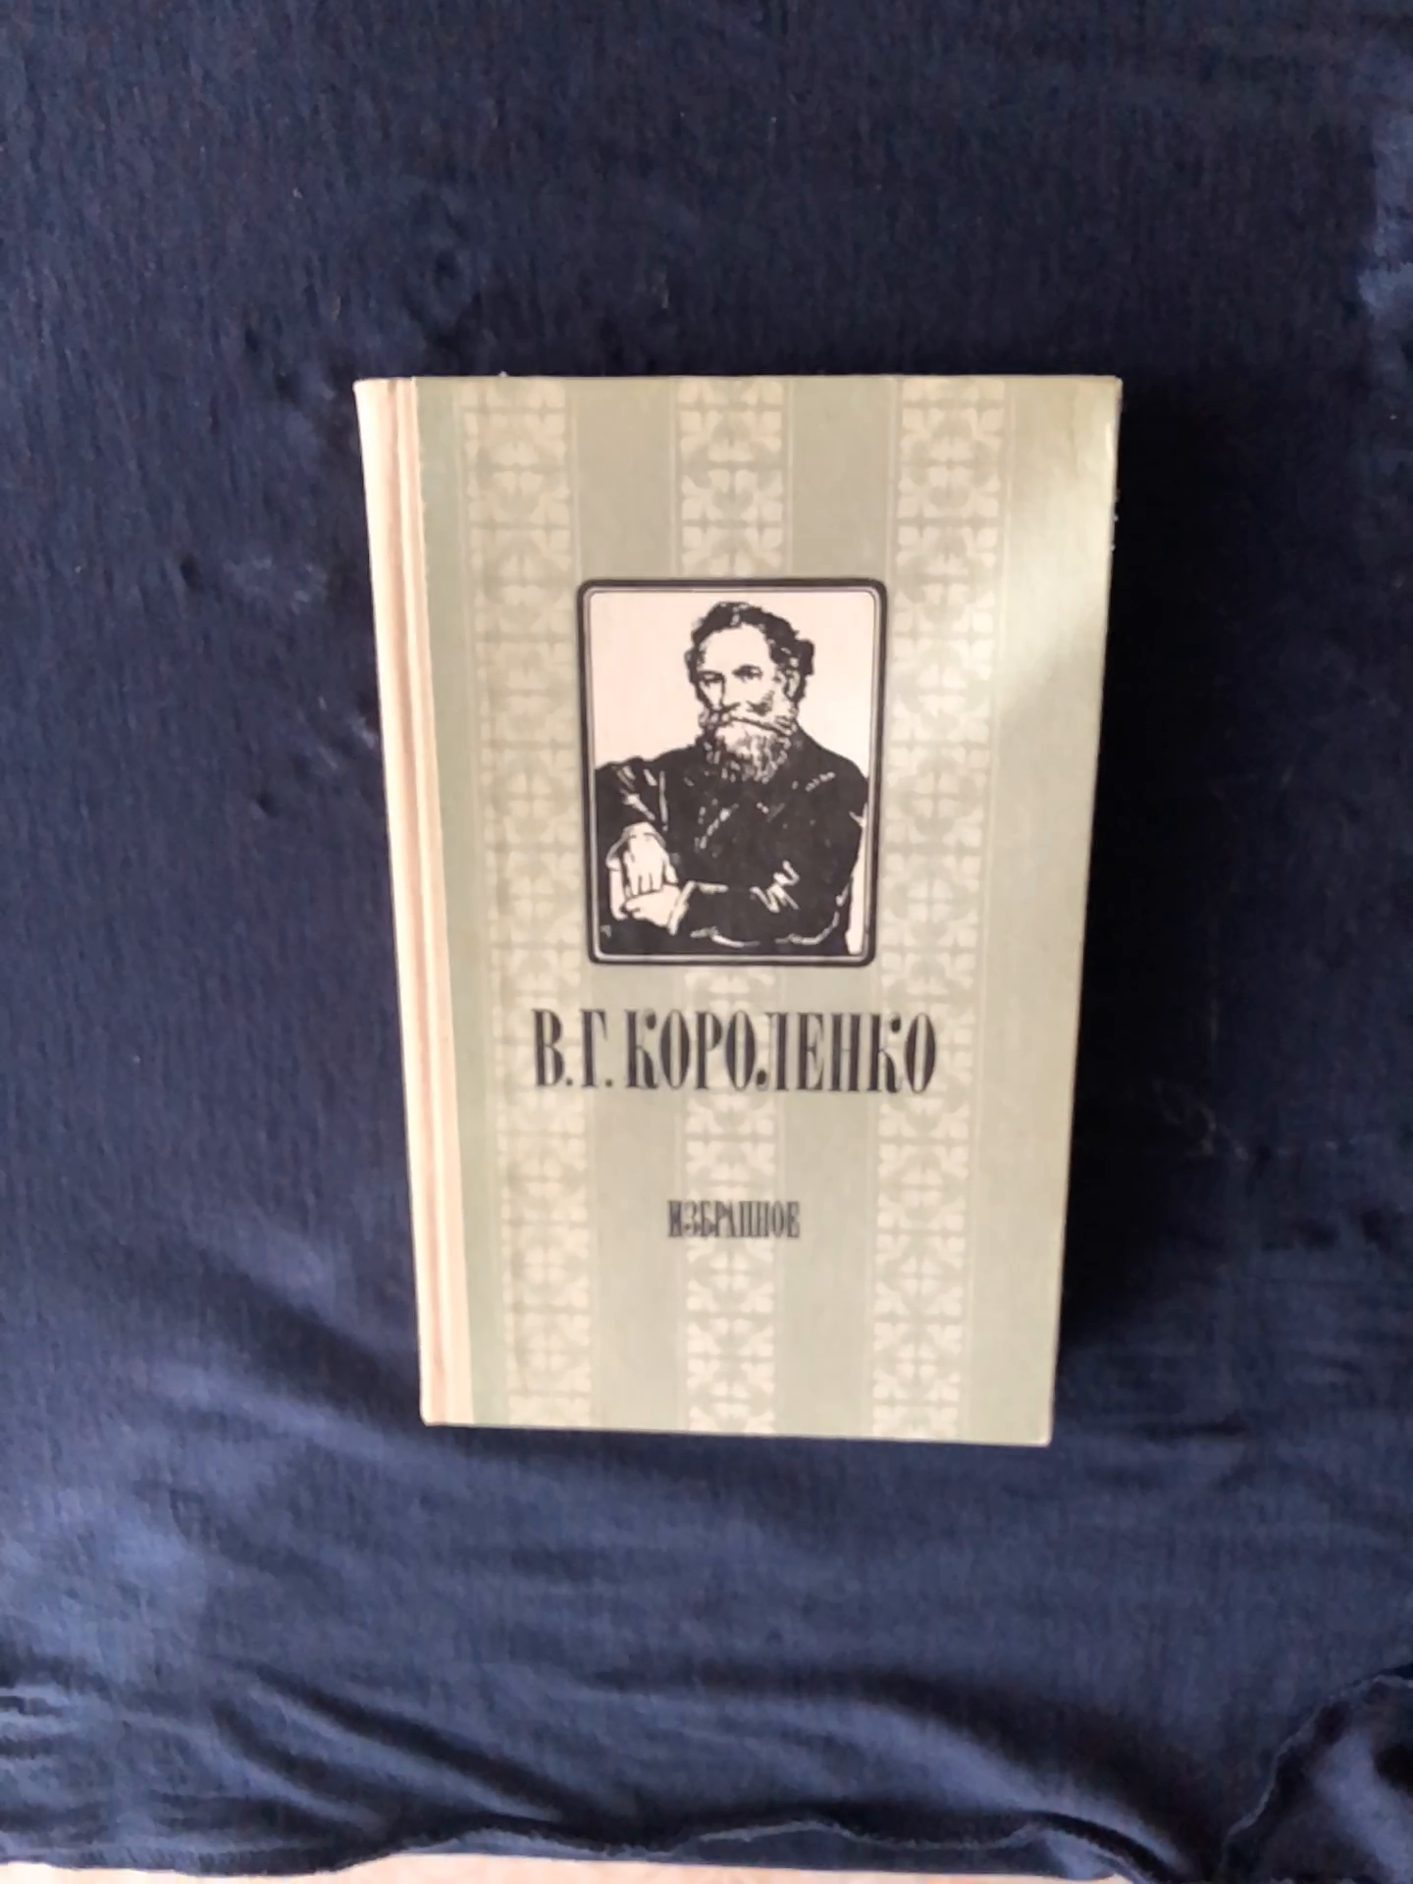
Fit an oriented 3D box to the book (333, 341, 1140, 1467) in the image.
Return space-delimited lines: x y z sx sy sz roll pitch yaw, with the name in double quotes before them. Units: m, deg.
"book" 0.005 -0.001 0.302 0.132 0.030 0.210 0 106 1
